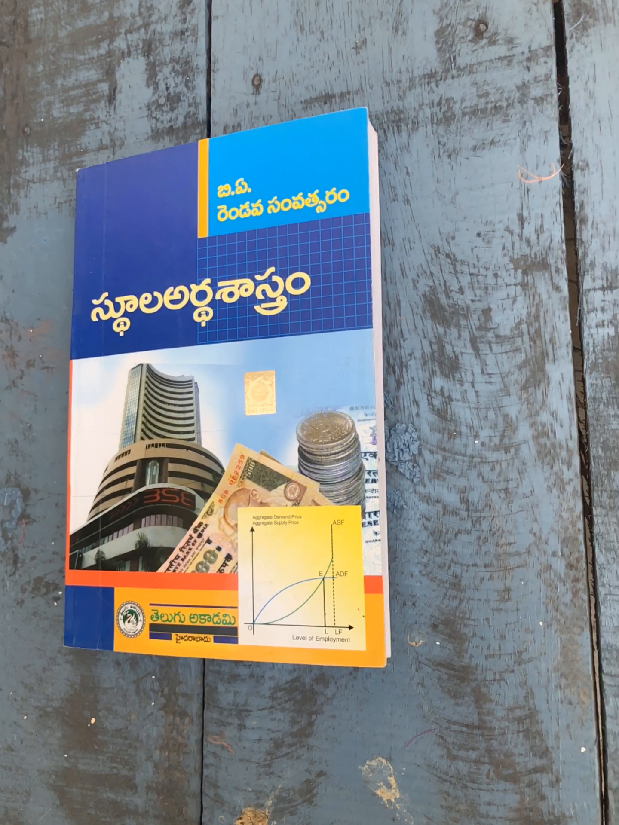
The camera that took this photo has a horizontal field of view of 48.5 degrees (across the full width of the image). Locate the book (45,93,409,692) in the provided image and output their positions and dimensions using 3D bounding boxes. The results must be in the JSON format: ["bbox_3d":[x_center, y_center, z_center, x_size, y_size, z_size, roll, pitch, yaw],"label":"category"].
[{"bbox_3d":[-0.045,-0.007,0.327,0.170,0.030,0.250,-3,85,19],"label":"book"}]
